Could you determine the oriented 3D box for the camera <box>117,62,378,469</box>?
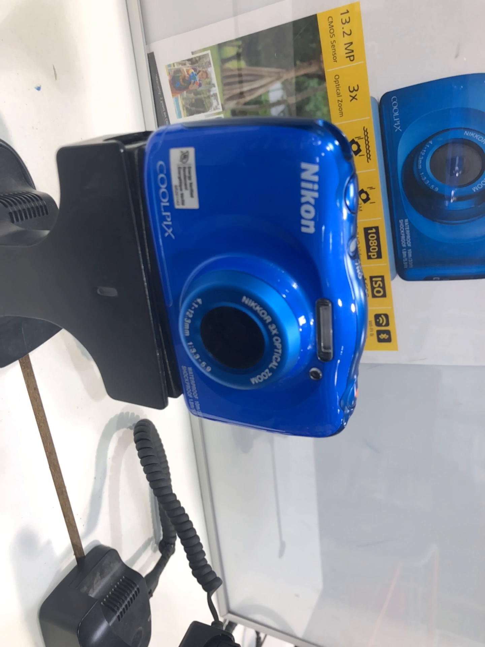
[{"bbox_3d":[0.009,-0.021,0.200,0.050,0.070,0.130,-44,134,-55],"label":"camera"}]
